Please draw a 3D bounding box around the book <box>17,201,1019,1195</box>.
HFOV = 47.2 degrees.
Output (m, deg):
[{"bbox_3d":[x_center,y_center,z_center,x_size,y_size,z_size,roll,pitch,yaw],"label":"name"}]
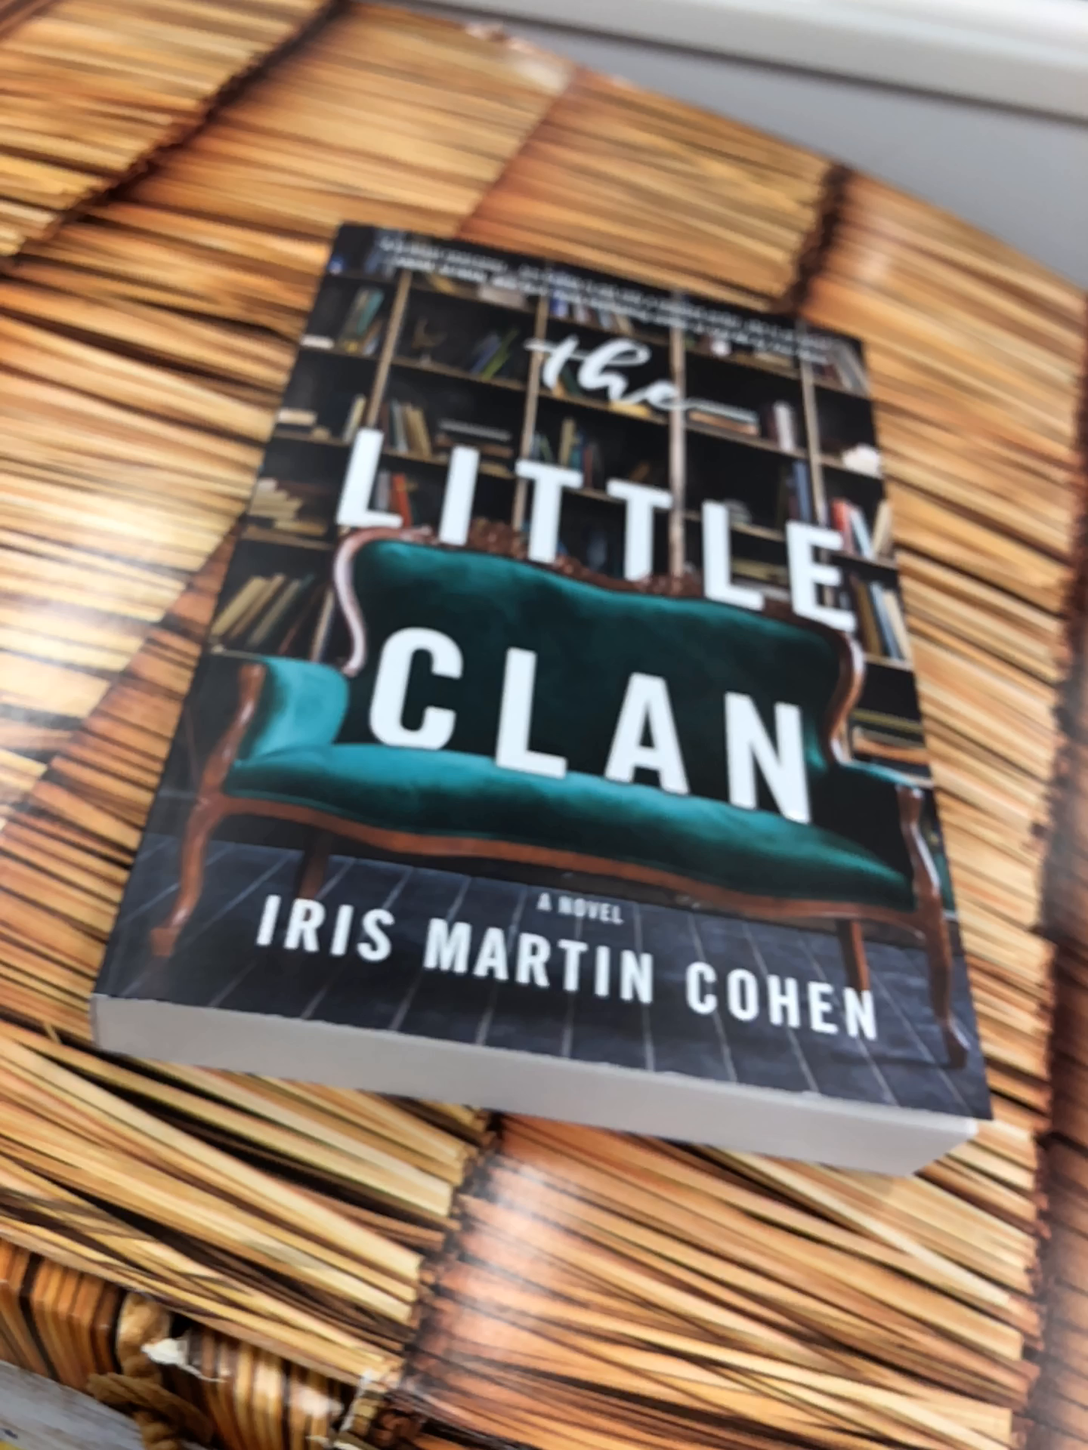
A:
[{"bbox_3d":[0.004,-0.023,0.231,0.130,0.030,0.191,11,49,-5],"label":"book"}]
